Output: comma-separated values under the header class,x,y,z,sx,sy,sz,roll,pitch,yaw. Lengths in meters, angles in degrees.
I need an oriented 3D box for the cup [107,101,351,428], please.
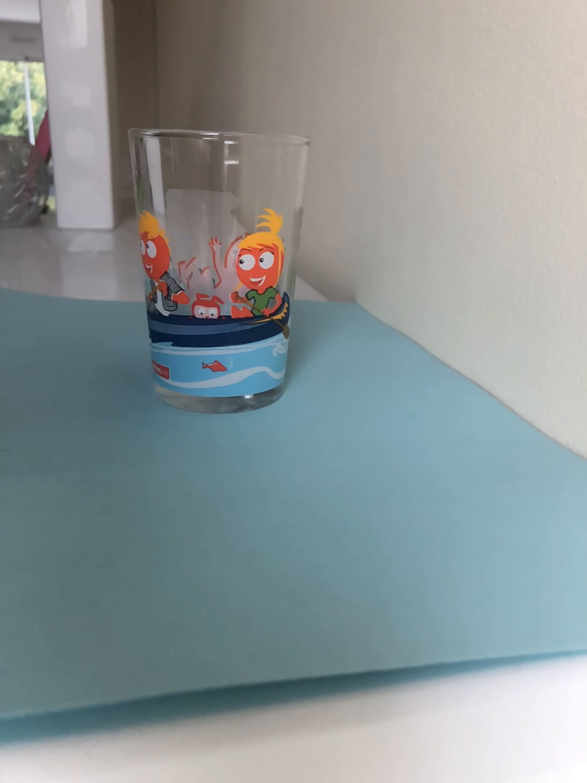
class,x,y,z,sx,sy,sz,roll,pitch,yaw
cup,-0.025,-0.049,0.240,0.060,0.100,0.060,2,19,-1
